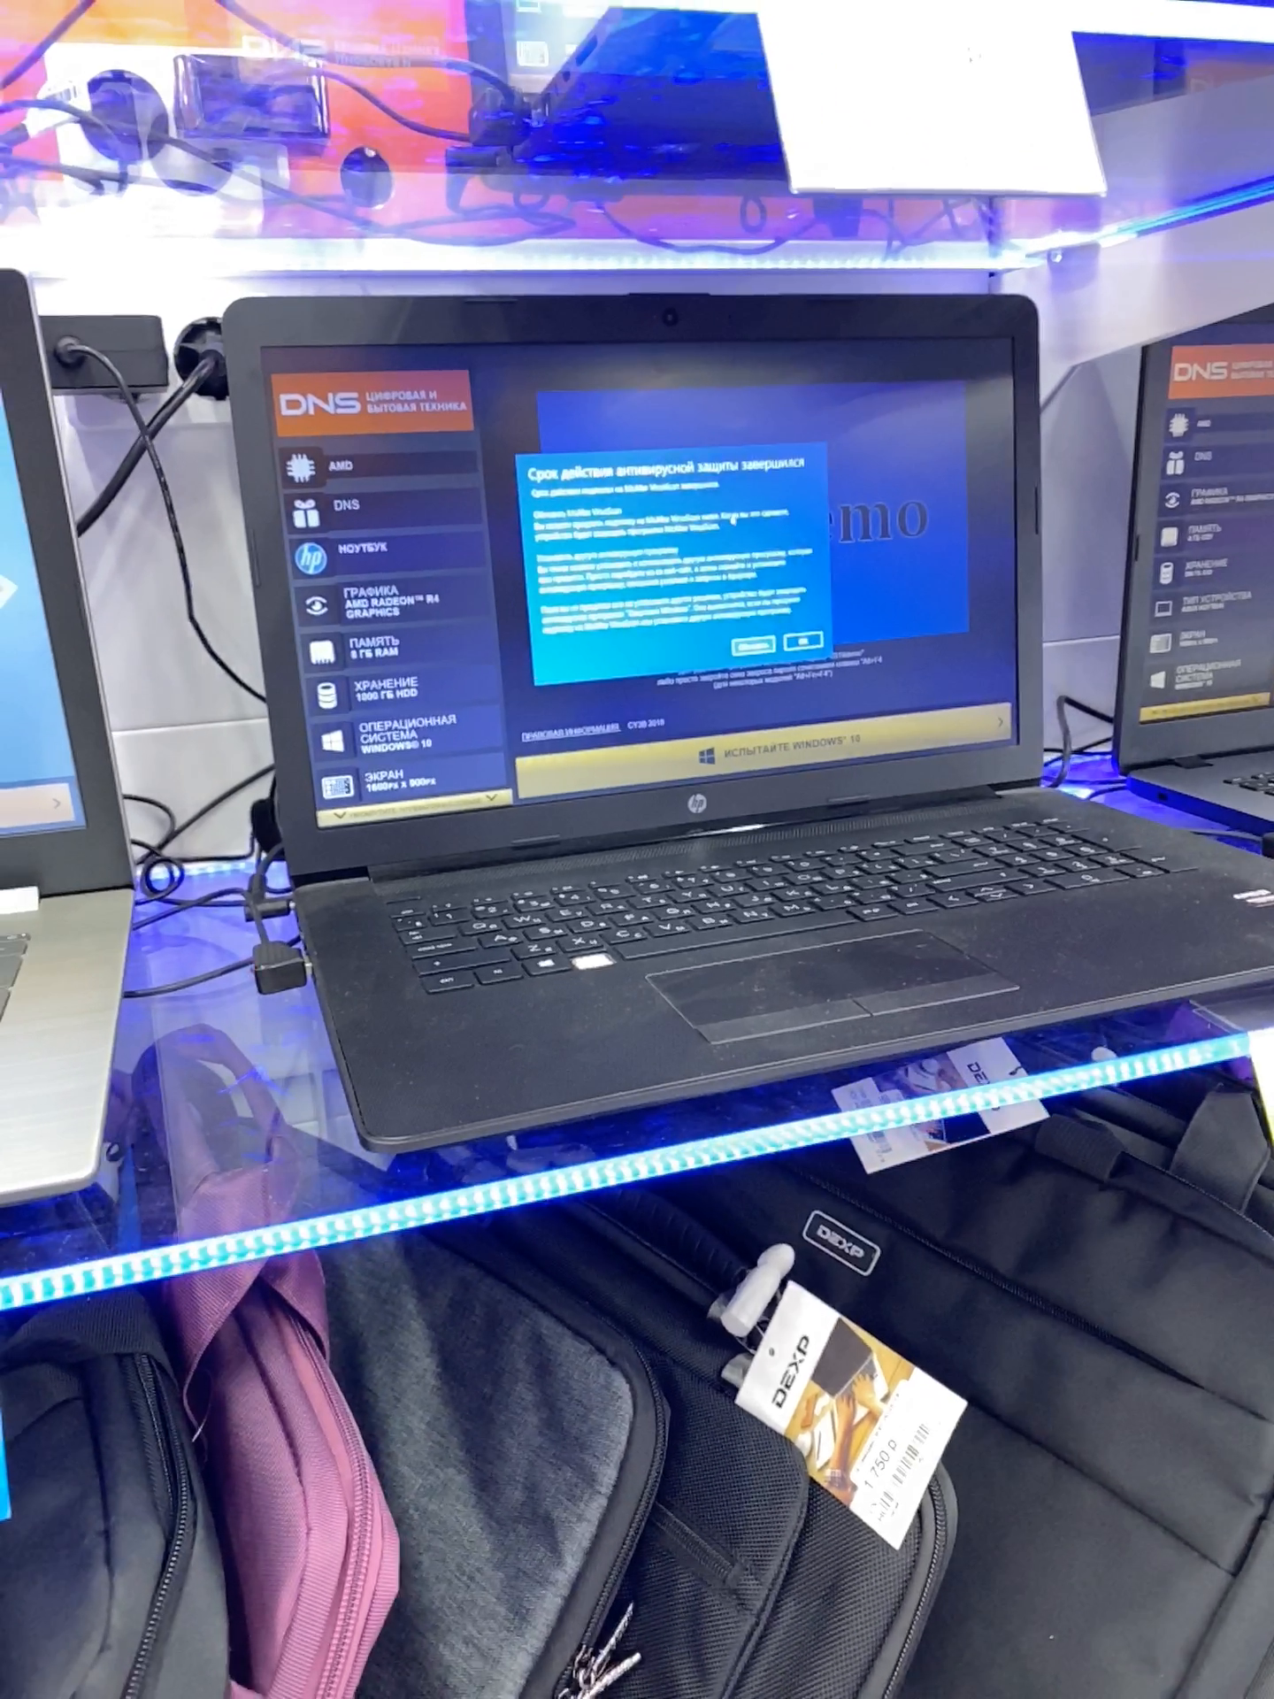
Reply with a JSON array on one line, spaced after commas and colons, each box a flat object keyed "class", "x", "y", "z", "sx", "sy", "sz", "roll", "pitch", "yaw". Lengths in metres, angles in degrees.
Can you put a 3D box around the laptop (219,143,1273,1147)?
[{"class": "laptop", "x": 0.068, "y": -0.103, "z": 0.541, "sx": 0.419, "sy": 0.260, "sz": 0.295, "roll": -7, "pitch": 16, "yaw": -18}]
